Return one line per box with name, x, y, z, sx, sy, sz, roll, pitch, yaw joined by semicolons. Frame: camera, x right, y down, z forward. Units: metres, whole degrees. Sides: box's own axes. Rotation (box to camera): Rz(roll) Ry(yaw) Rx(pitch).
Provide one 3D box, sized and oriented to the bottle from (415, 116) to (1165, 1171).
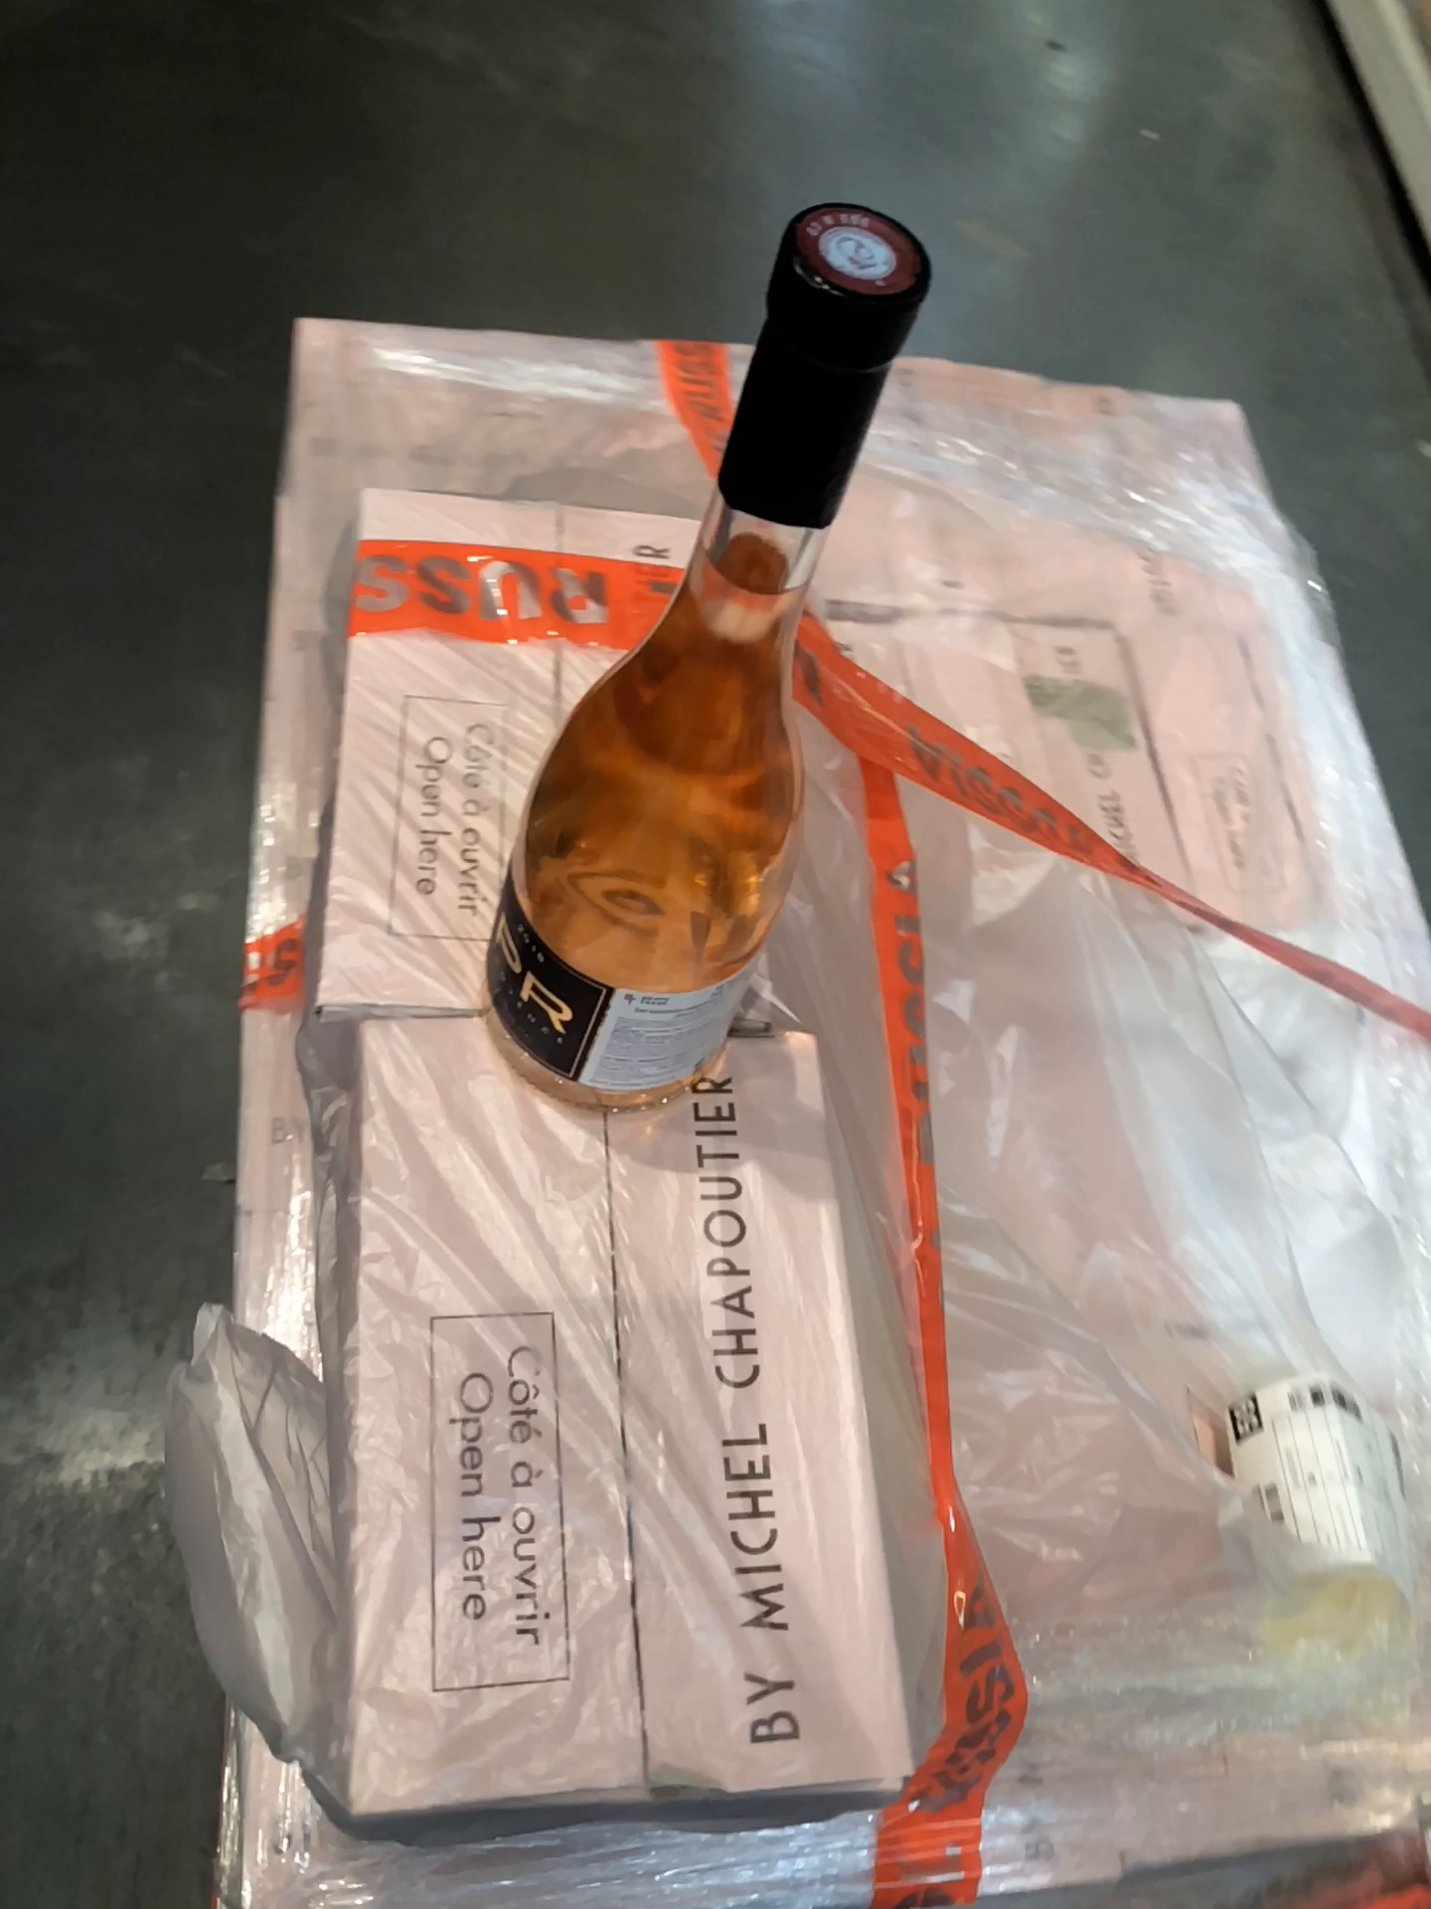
bottle;-0.006;-0.056;0.428;0.096;0.279;0.100;6;61;-10
